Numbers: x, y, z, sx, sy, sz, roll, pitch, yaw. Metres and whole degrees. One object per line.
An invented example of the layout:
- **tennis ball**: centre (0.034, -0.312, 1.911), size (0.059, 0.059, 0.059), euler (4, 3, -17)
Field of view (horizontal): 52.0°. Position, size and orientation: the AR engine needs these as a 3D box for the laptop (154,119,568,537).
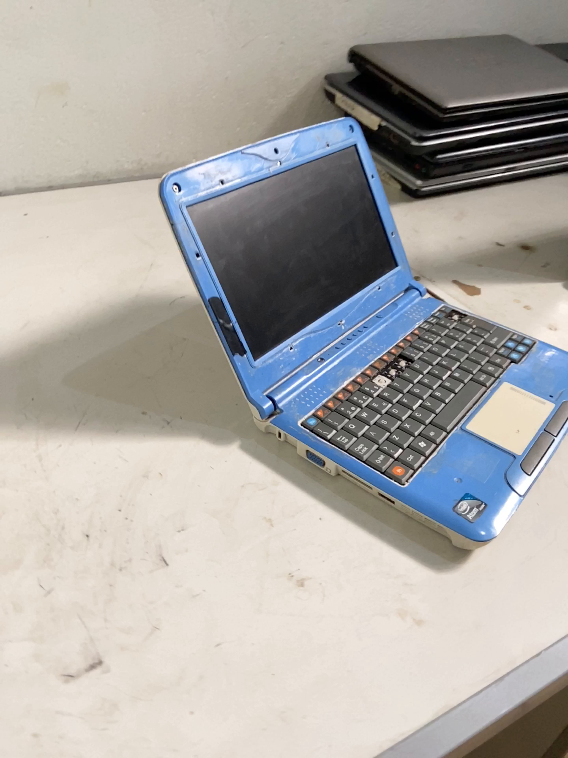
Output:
- **laptop**: centre (0.095, -0.074, 0.461), size (0.287, 0.149, 0.242), euler (29, 45, 27)
